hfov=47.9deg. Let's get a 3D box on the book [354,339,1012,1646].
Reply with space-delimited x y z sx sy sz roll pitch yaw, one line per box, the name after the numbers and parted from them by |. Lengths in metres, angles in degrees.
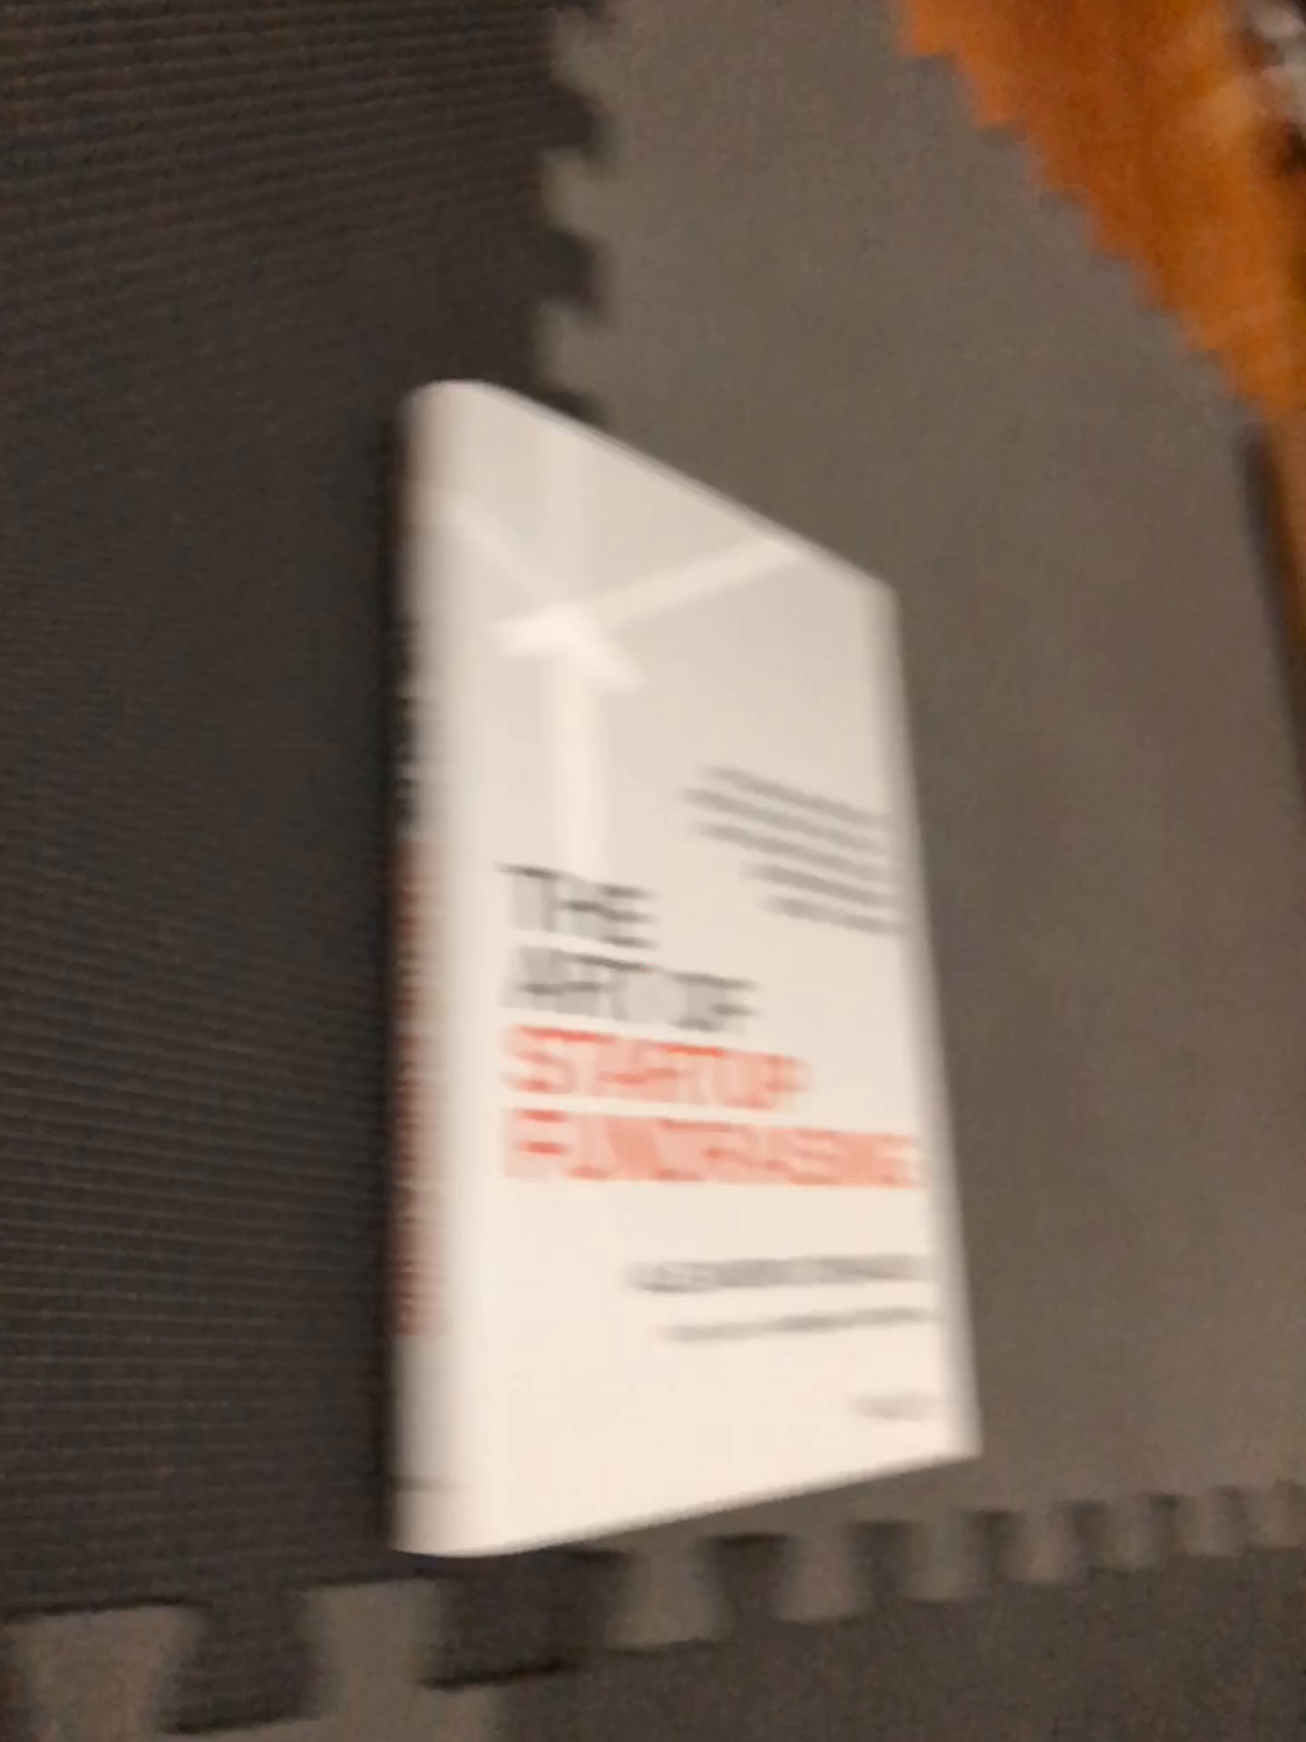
0.012 0.025 0.344 0.171 0.030 0.250 16 65 -44 | book
